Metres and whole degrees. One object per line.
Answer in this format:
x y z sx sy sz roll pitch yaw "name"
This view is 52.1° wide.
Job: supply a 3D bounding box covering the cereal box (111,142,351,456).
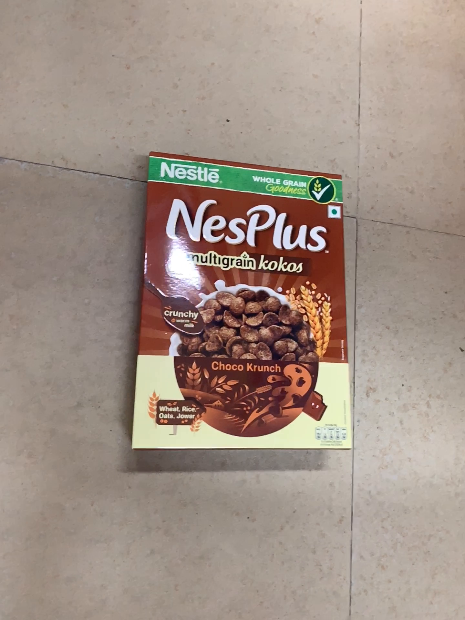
-0.002 -0.004 0.478 0.210 0.090 0.280 4 78 -12 "cereal box"
